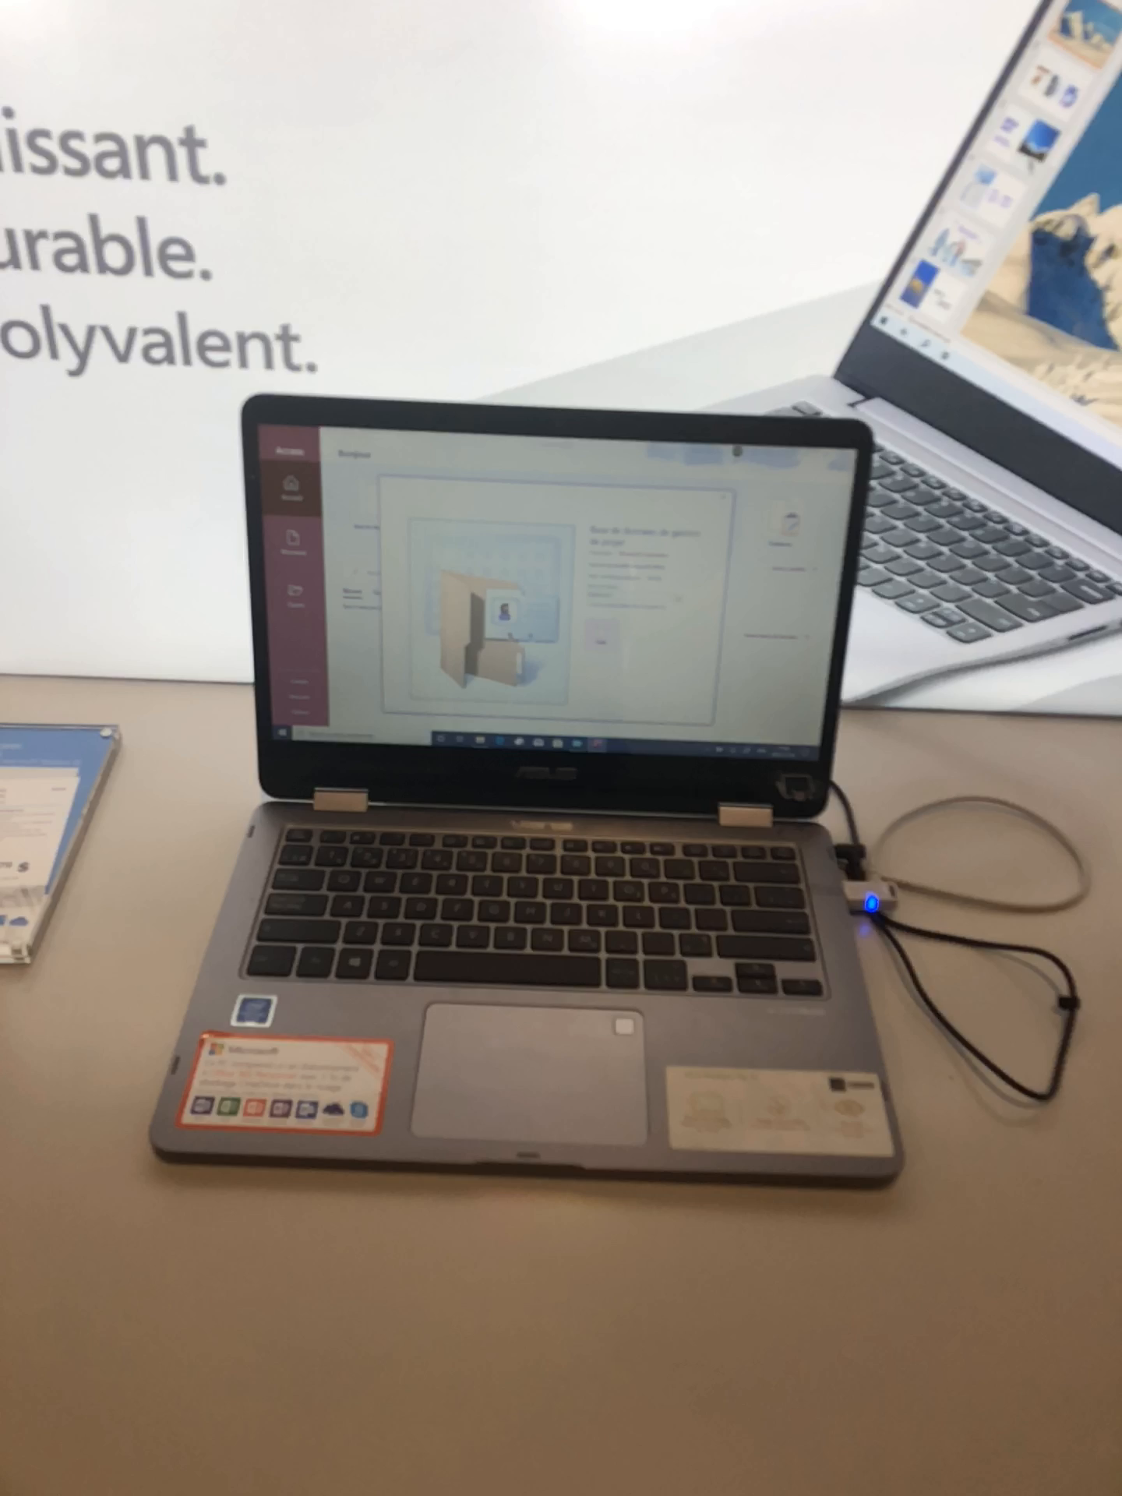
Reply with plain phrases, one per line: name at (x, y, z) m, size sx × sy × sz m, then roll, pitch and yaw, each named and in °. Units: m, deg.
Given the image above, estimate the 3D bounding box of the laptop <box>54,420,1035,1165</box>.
laptop at (-0.006, 0.008, 0.565) m, size 0.311 × 0.214 × 0.274 m, roll 2°, pitch 37°, yaw -1°
